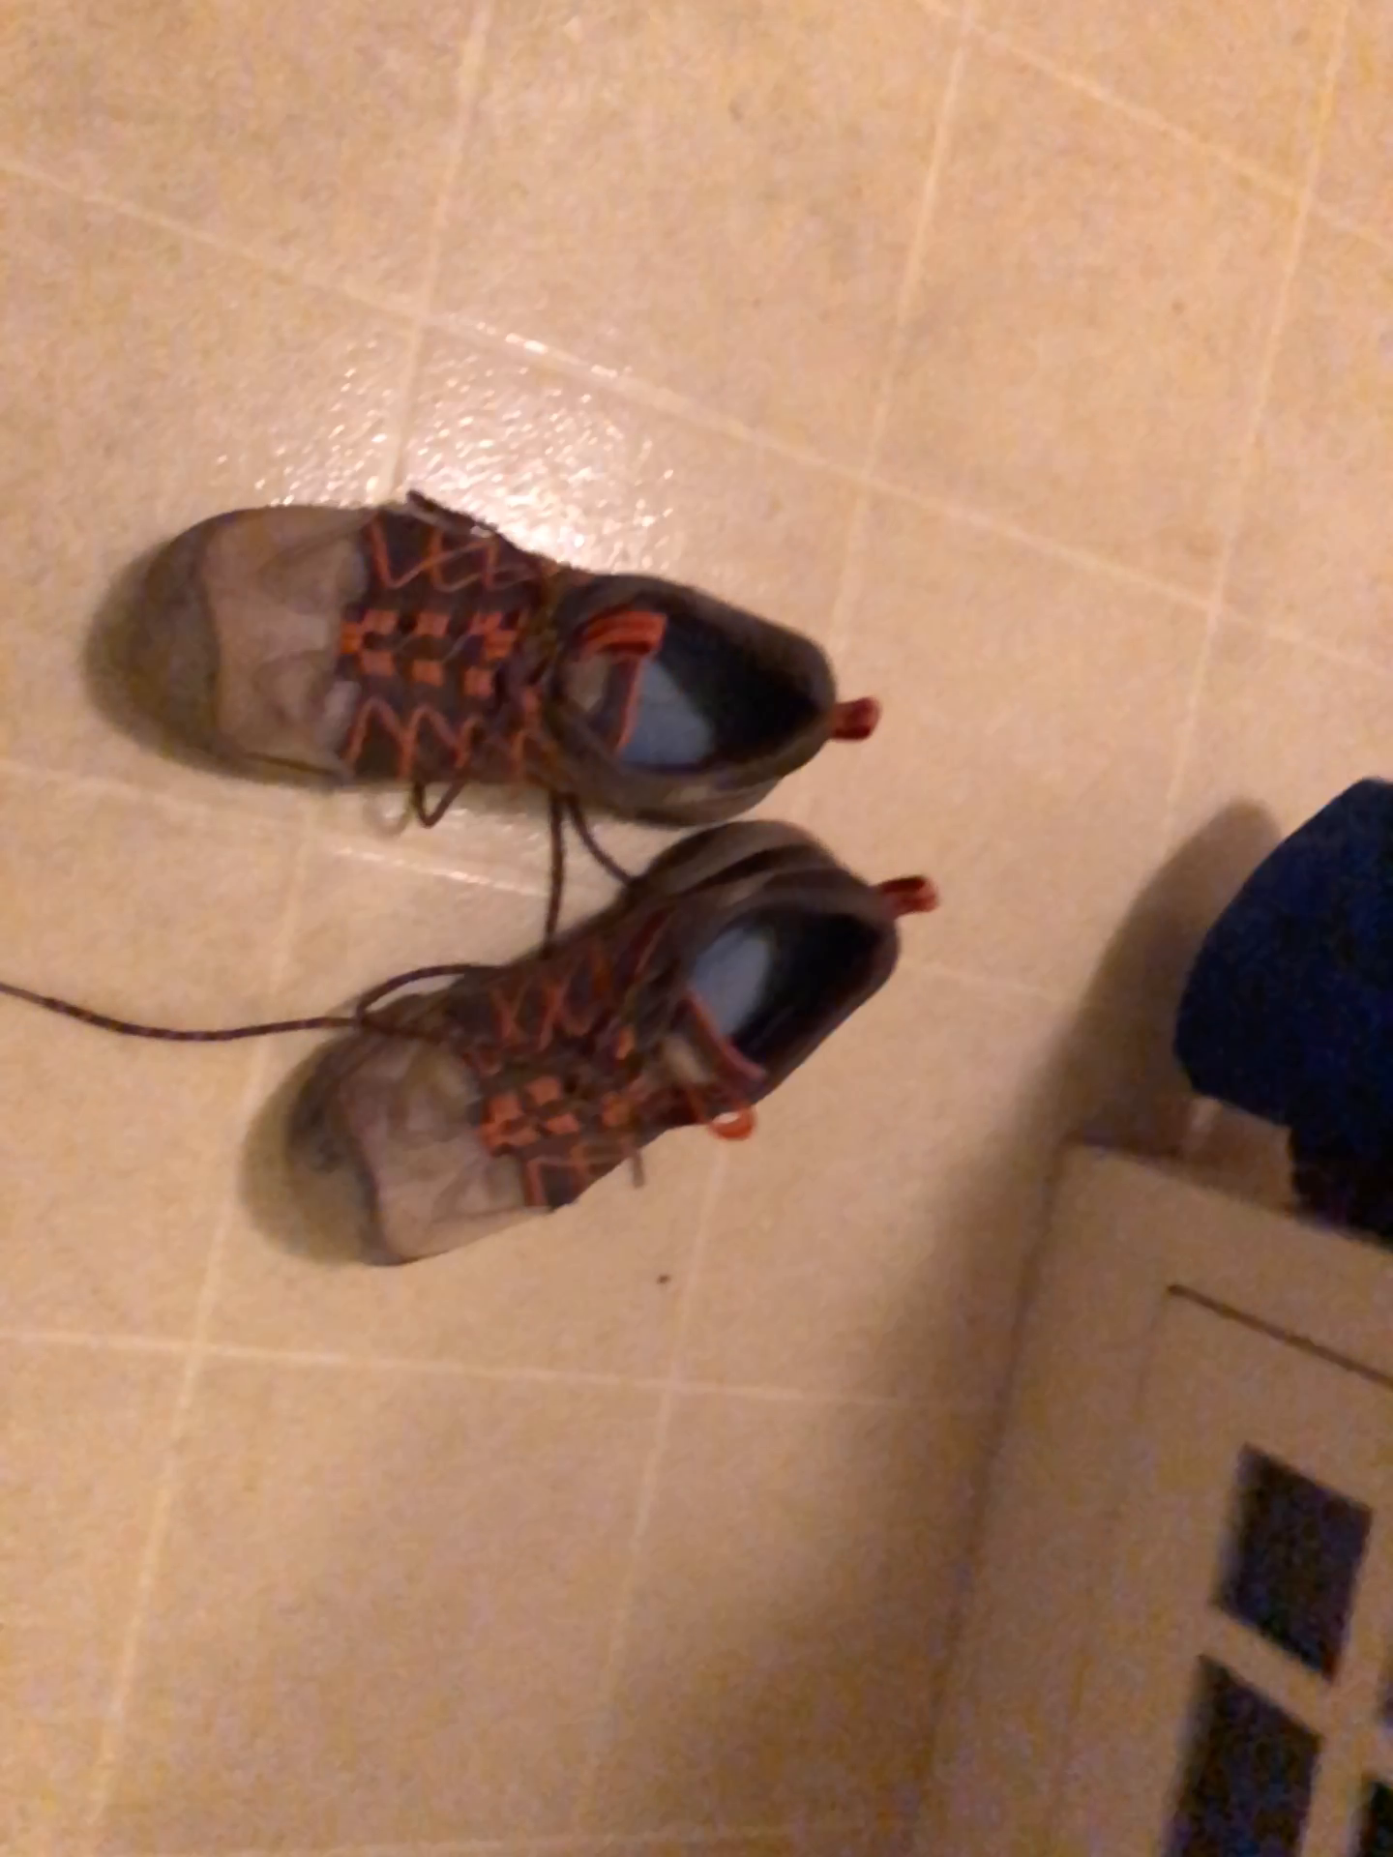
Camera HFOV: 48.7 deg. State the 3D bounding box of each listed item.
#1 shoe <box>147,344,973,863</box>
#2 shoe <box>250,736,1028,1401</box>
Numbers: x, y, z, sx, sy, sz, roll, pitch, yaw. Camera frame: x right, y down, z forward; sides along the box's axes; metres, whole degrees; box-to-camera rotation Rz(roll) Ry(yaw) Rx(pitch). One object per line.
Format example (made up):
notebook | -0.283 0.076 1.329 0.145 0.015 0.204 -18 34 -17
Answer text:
shoe | -0.055 -0.115 0.620 0.293 0.122 0.127 9 92 -24
shoe | -0.024 0.044 0.655 0.283 0.122 0.127 -33 107 -17
